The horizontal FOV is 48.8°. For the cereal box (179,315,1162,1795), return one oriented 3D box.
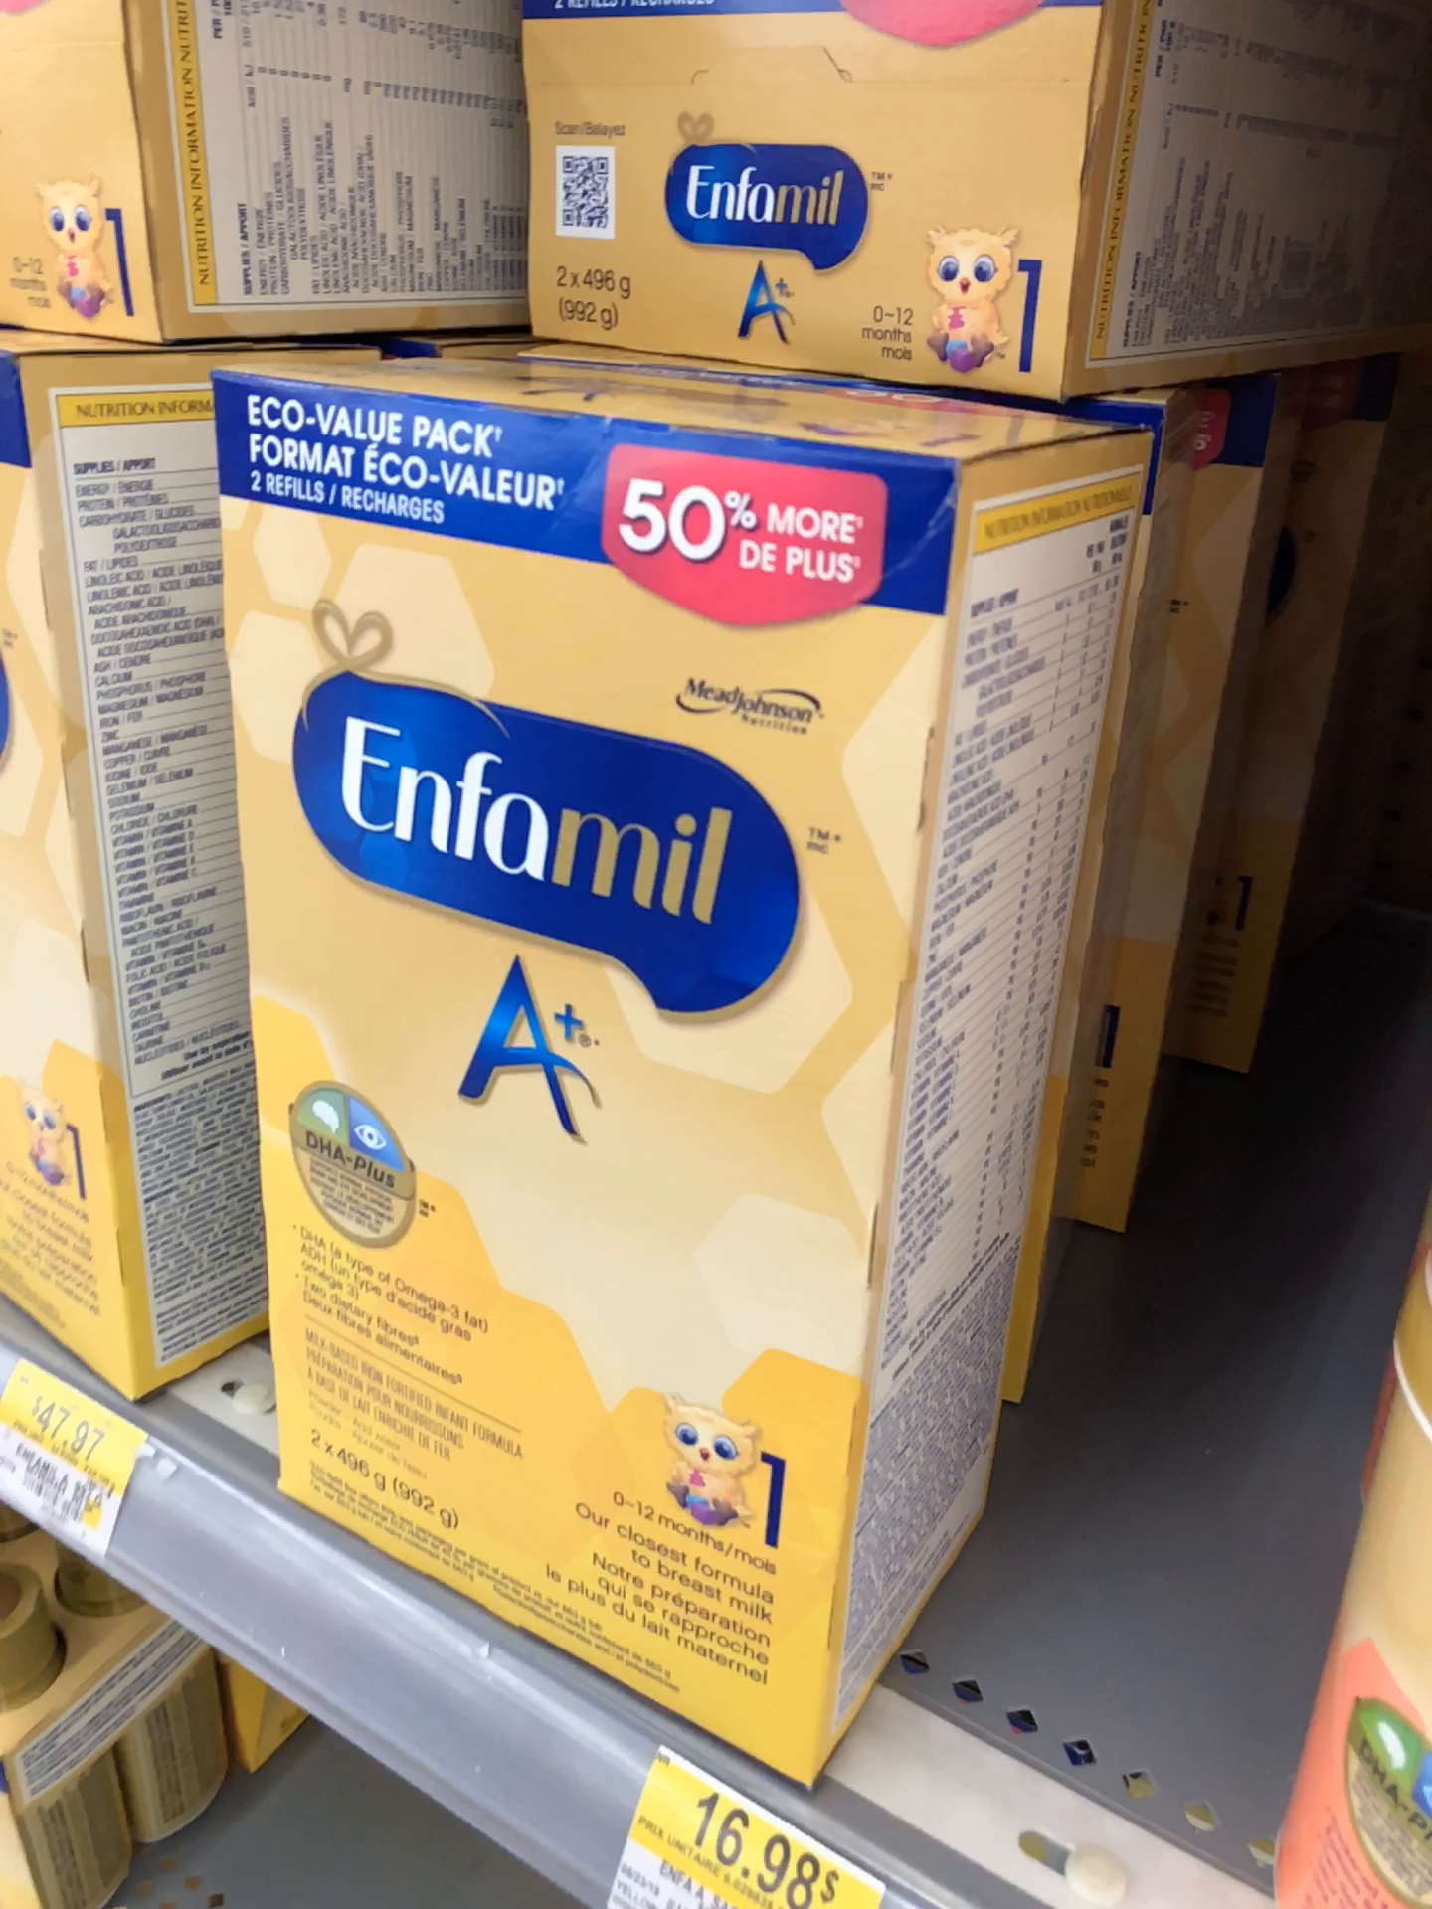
[{"bbox_3d":[-0.015,0.013,0.323,0.150,0.258,0.080,16,26,27],"label":"cereal box"}]
